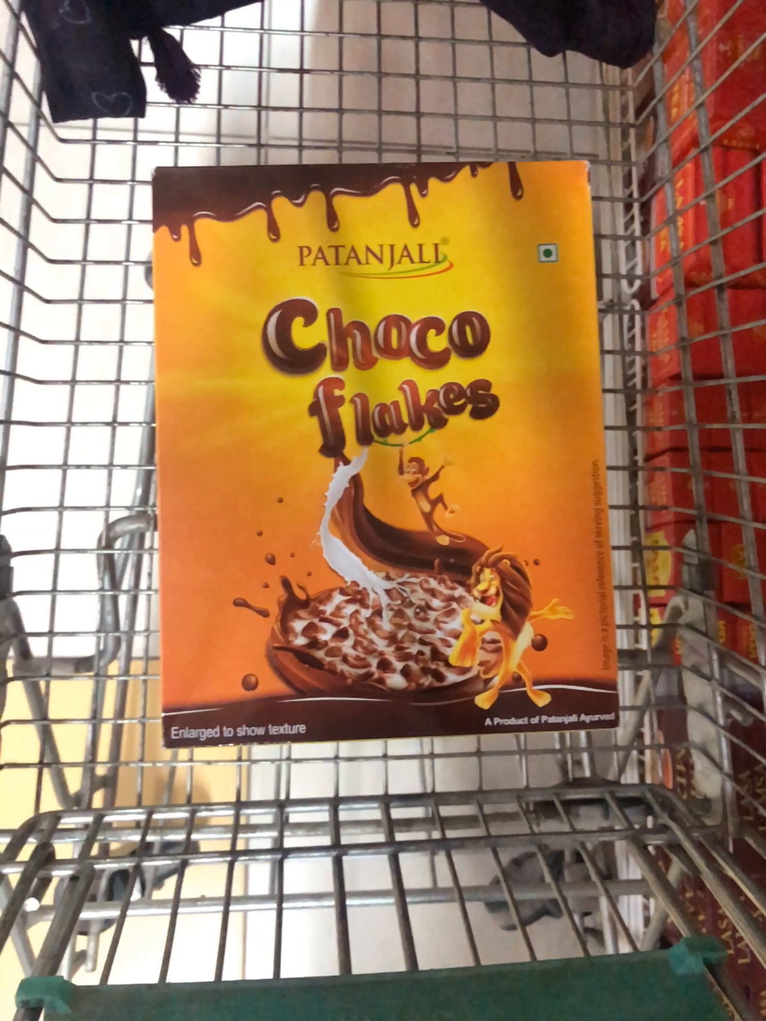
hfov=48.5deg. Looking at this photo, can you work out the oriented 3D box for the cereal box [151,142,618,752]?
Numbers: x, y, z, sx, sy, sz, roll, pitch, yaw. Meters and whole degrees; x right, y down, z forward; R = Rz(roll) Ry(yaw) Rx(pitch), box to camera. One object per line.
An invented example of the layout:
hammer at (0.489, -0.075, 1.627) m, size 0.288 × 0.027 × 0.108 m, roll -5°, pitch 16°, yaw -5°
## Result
cereal box at (-0.003, -0.025, 0.379) m, size 0.170 × 0.110 × 0.230 m, roll -2°, pitch 86°, yaw -3°
